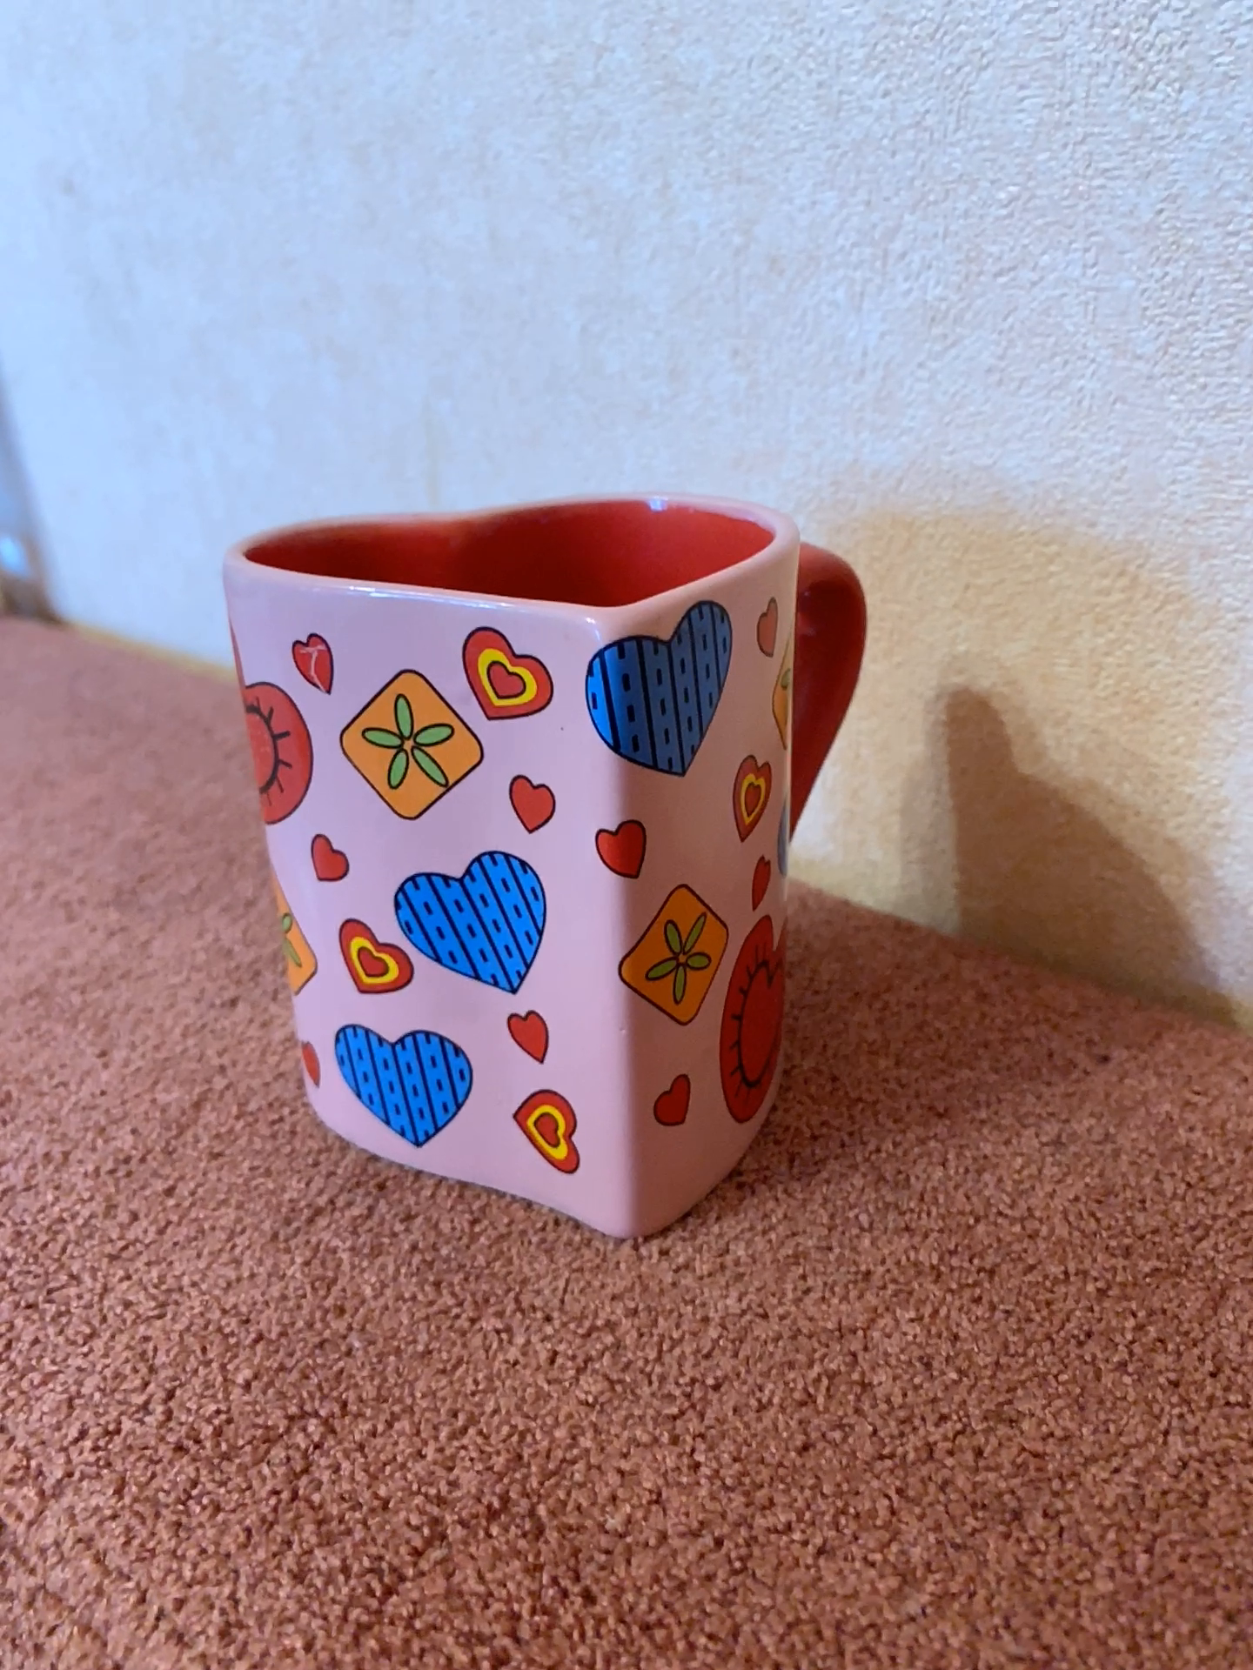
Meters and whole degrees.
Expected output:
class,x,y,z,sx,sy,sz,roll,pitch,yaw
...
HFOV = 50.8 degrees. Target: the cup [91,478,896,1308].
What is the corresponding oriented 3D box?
class,x,y,z,sx,sy,sz,roll,pitch,yaw
cup,-0.012,-0.001,0.206,0.085,0.091,0.082,-2,23,1
